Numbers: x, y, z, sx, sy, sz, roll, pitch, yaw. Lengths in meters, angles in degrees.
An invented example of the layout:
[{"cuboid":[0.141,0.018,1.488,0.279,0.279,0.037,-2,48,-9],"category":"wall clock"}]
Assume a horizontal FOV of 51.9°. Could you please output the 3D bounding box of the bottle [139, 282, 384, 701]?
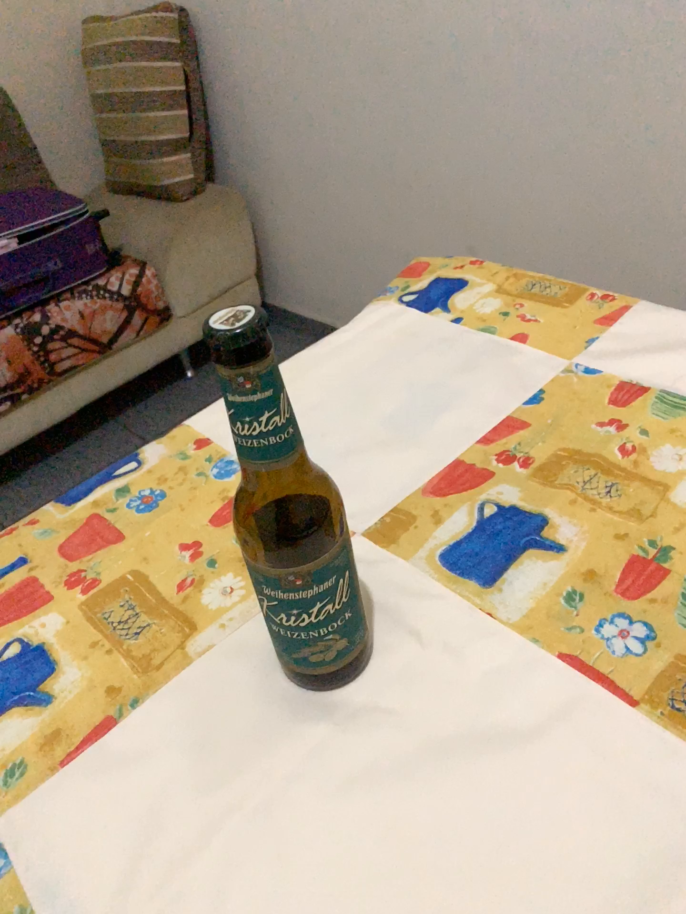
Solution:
[{"cuboid":[-0.028,0.033,0.366,0.070,0.229,0.060,-6,38,6],"category":"bottle"}]
